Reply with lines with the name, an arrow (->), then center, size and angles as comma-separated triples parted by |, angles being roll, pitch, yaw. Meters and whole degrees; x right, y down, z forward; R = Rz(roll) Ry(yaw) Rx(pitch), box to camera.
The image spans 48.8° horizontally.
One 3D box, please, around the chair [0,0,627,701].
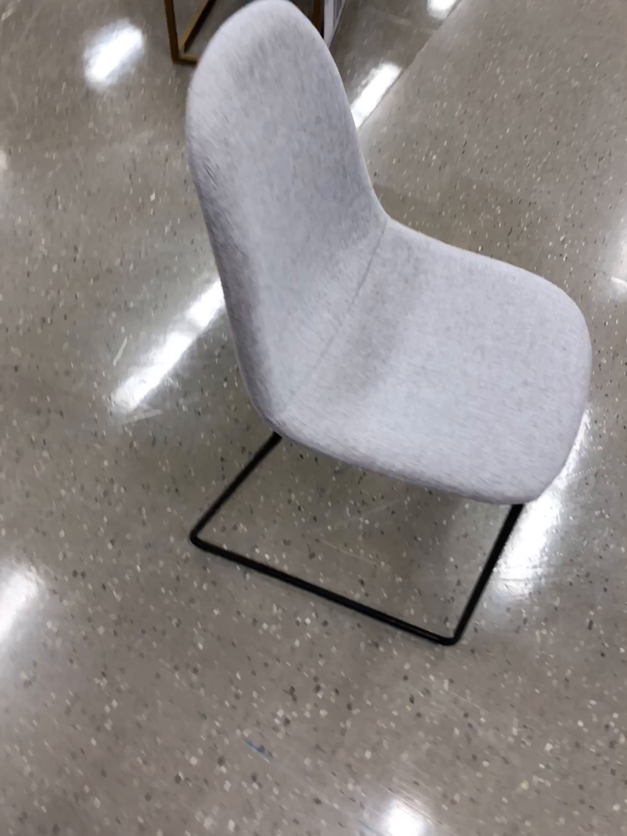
chair -> 0.110, -0.082, 0.985 | 0.580, 0.778, 0.591 | 22, 59, 10
